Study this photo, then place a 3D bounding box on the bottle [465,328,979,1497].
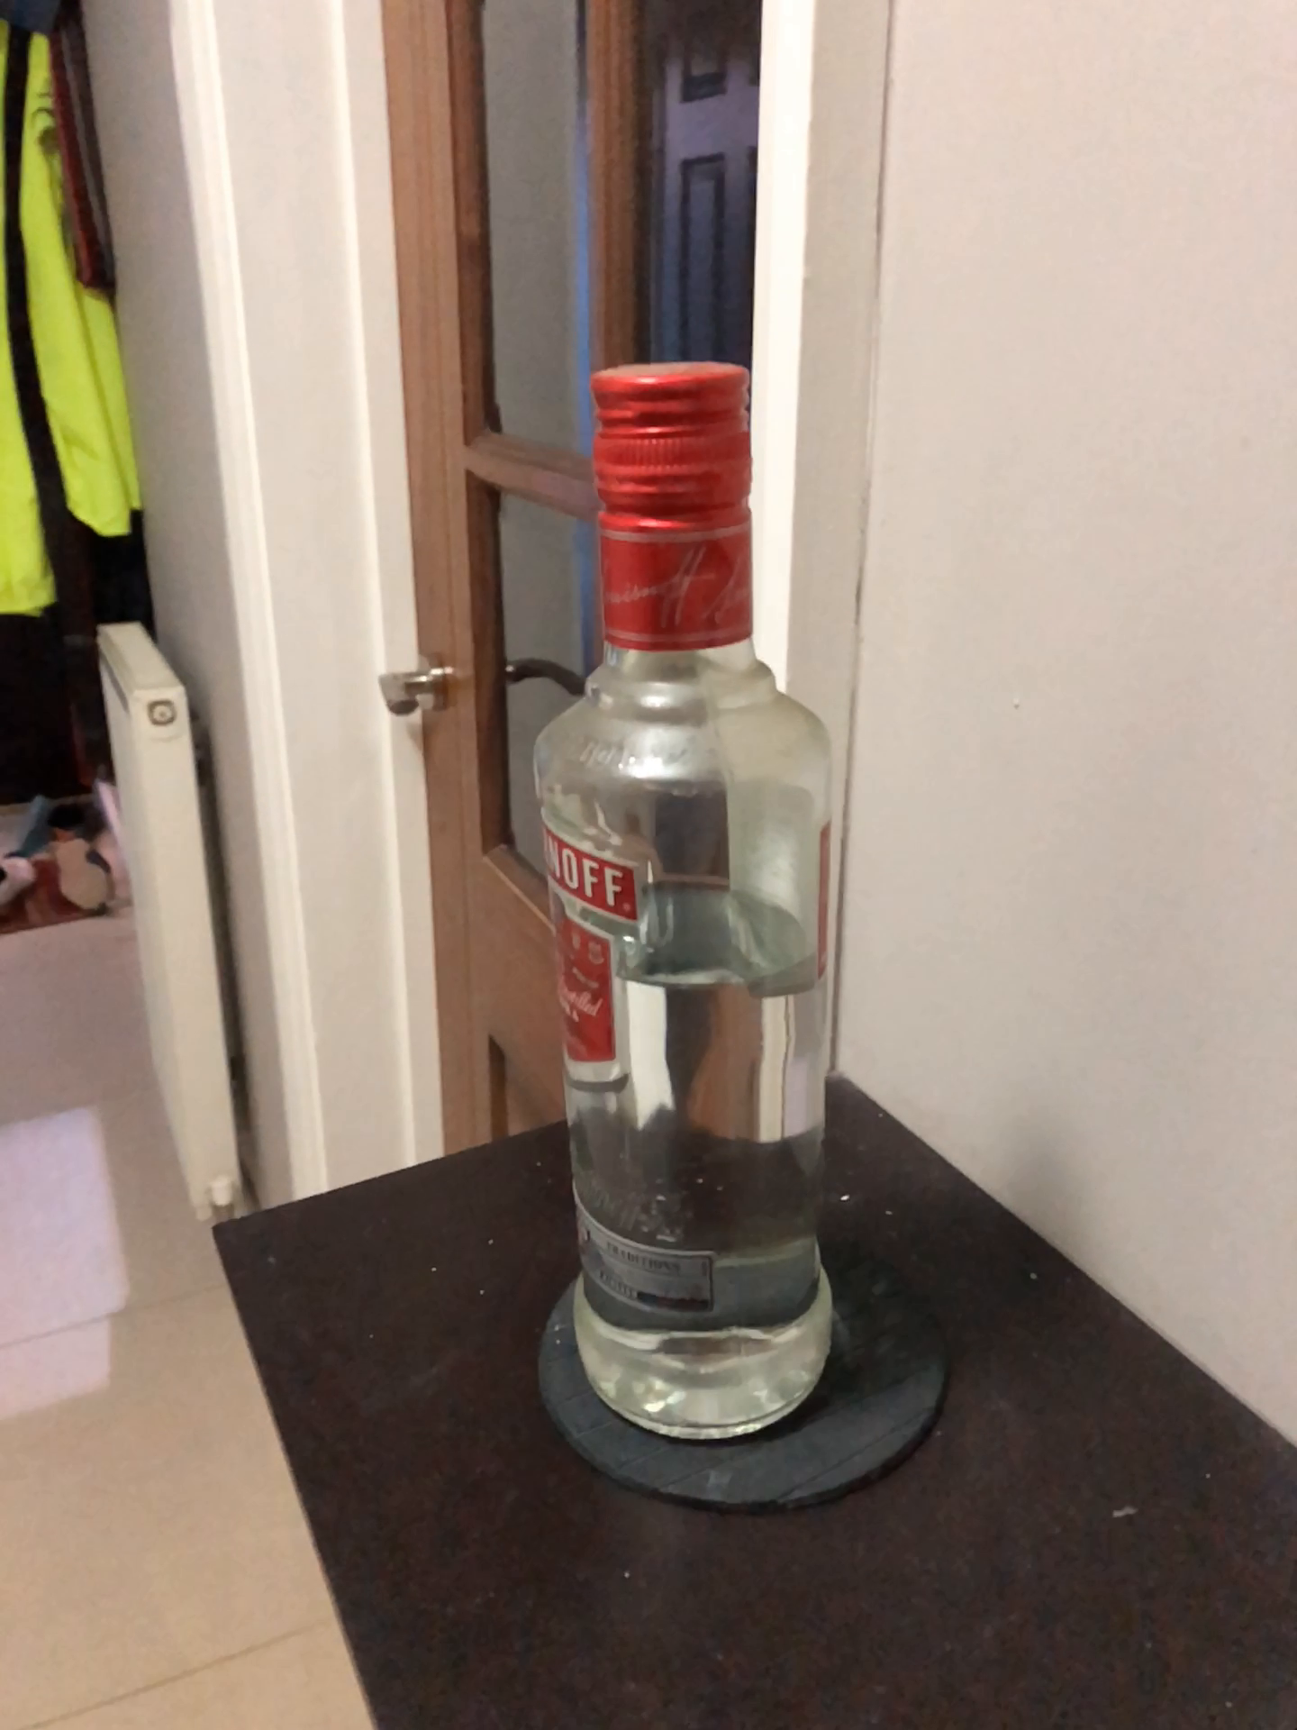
[{"bbox_3d":[0.010,0.009,0.291,0.070,0.219,0.070,0,21,0],"label":"bottle"}]
